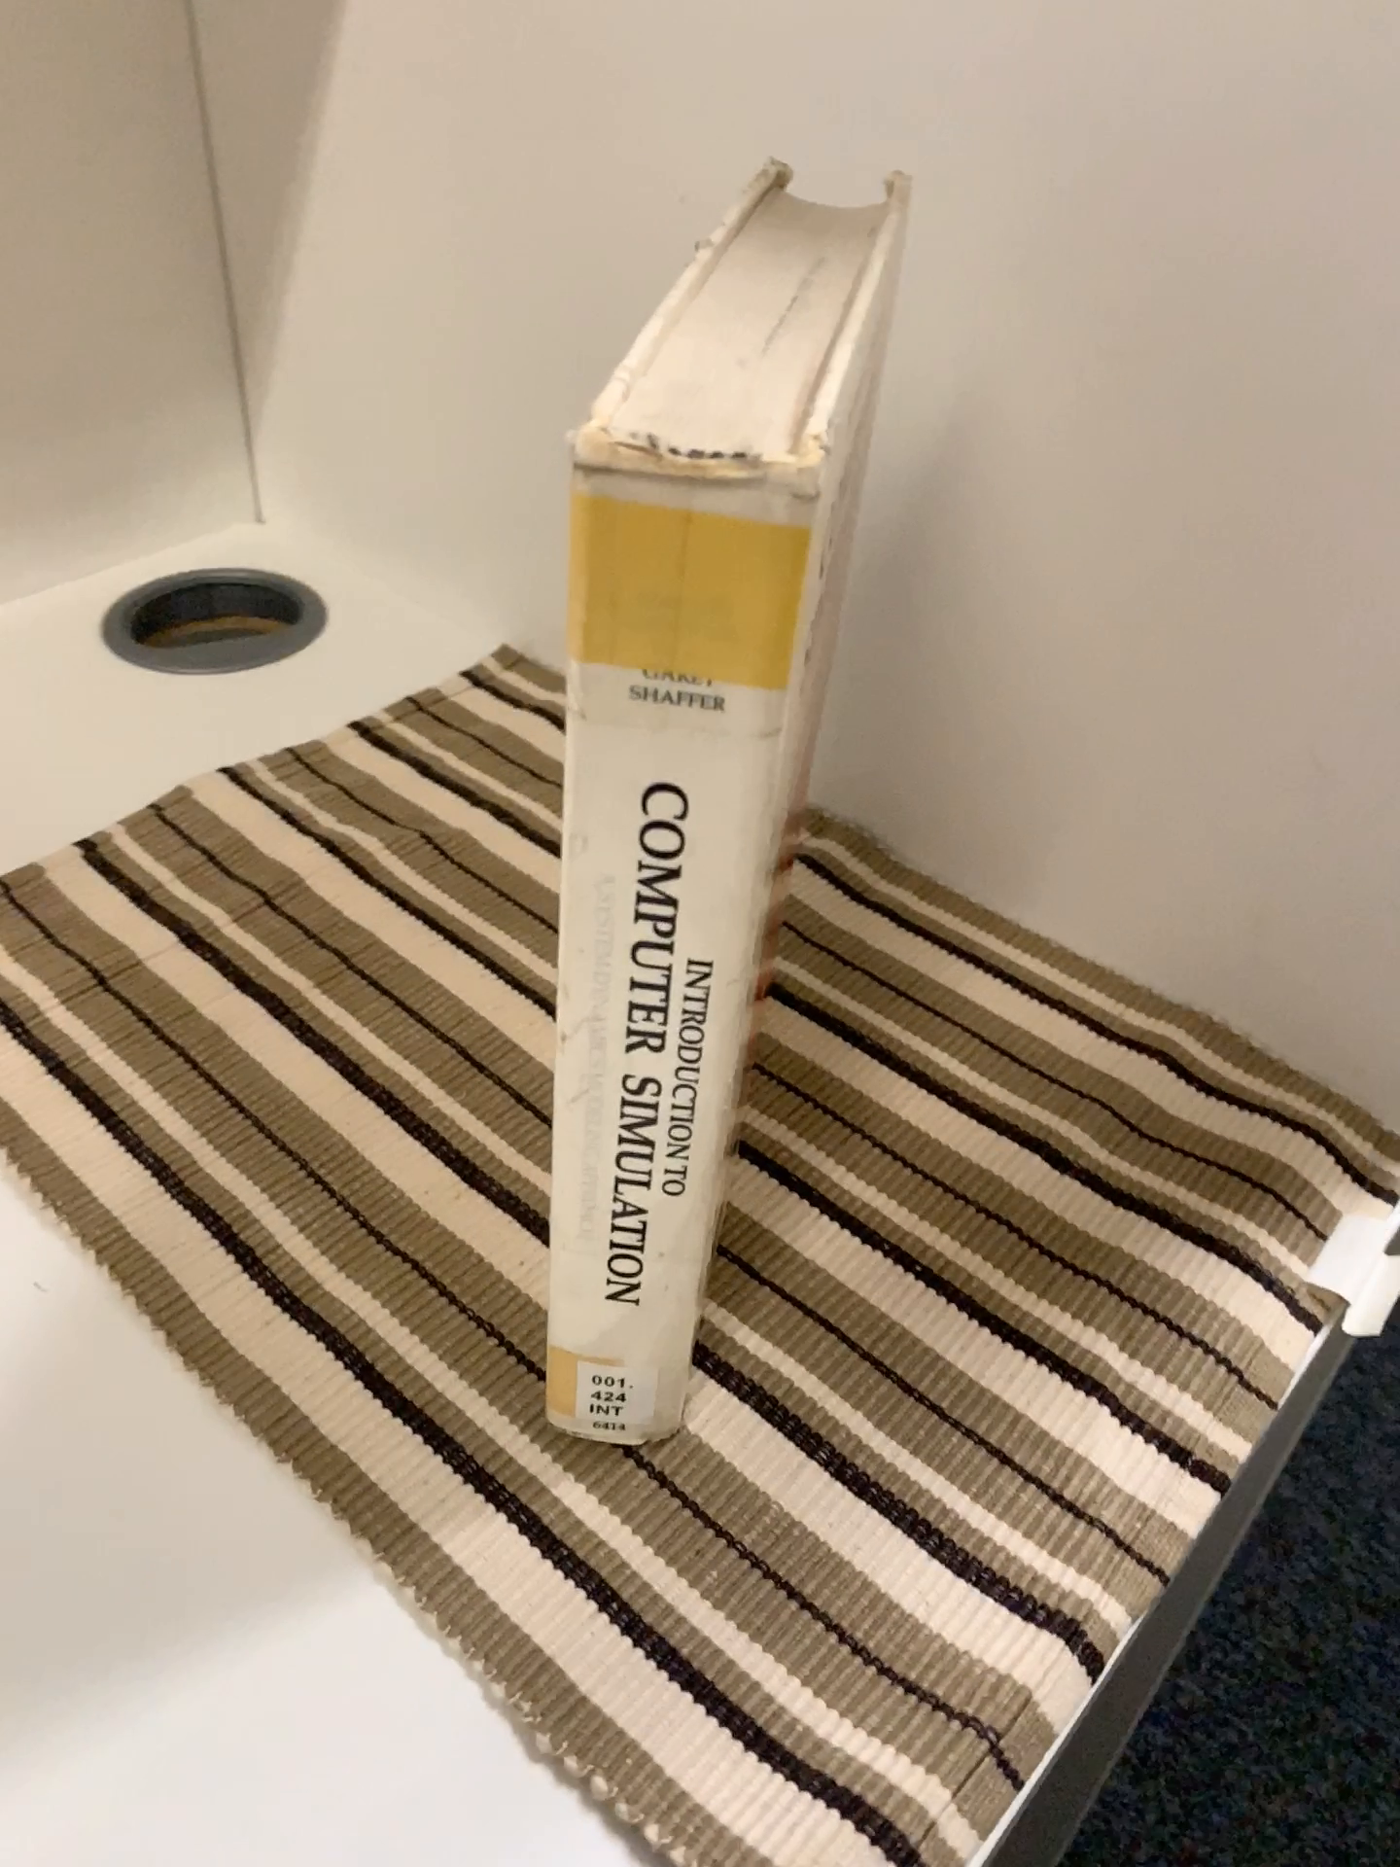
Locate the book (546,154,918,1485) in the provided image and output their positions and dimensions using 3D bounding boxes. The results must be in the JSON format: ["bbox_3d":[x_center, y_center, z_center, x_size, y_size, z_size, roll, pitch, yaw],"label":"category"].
[{"bbox_3d":[0.006,-0.023,0.322,0.040,0.238,0.172,9,39,3],"label":"book"}]
